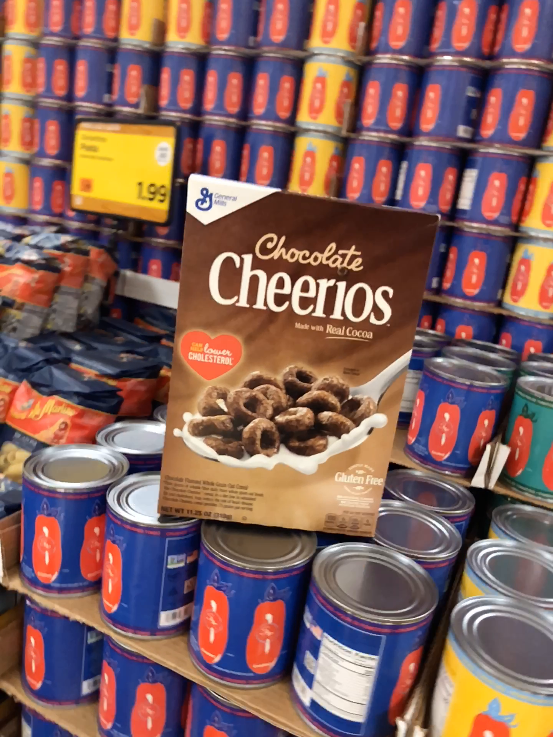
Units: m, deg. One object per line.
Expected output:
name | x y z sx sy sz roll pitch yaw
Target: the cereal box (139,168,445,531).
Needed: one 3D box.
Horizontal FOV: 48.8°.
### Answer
cereal box | 0.005 -0.009 0.520 0.210 0.279 0.050 7 14 -5
